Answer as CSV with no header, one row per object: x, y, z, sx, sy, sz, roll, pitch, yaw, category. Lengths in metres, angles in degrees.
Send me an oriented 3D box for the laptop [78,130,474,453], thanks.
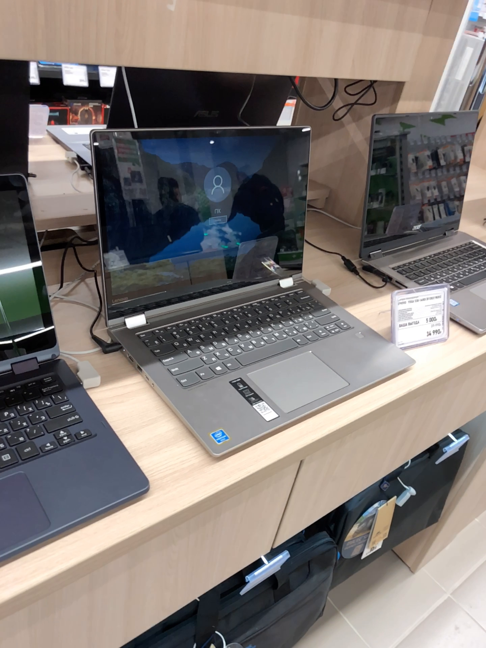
0.027,-0.073,0.624,0.312,0.205,0.287,-16,42,-40,laptop
